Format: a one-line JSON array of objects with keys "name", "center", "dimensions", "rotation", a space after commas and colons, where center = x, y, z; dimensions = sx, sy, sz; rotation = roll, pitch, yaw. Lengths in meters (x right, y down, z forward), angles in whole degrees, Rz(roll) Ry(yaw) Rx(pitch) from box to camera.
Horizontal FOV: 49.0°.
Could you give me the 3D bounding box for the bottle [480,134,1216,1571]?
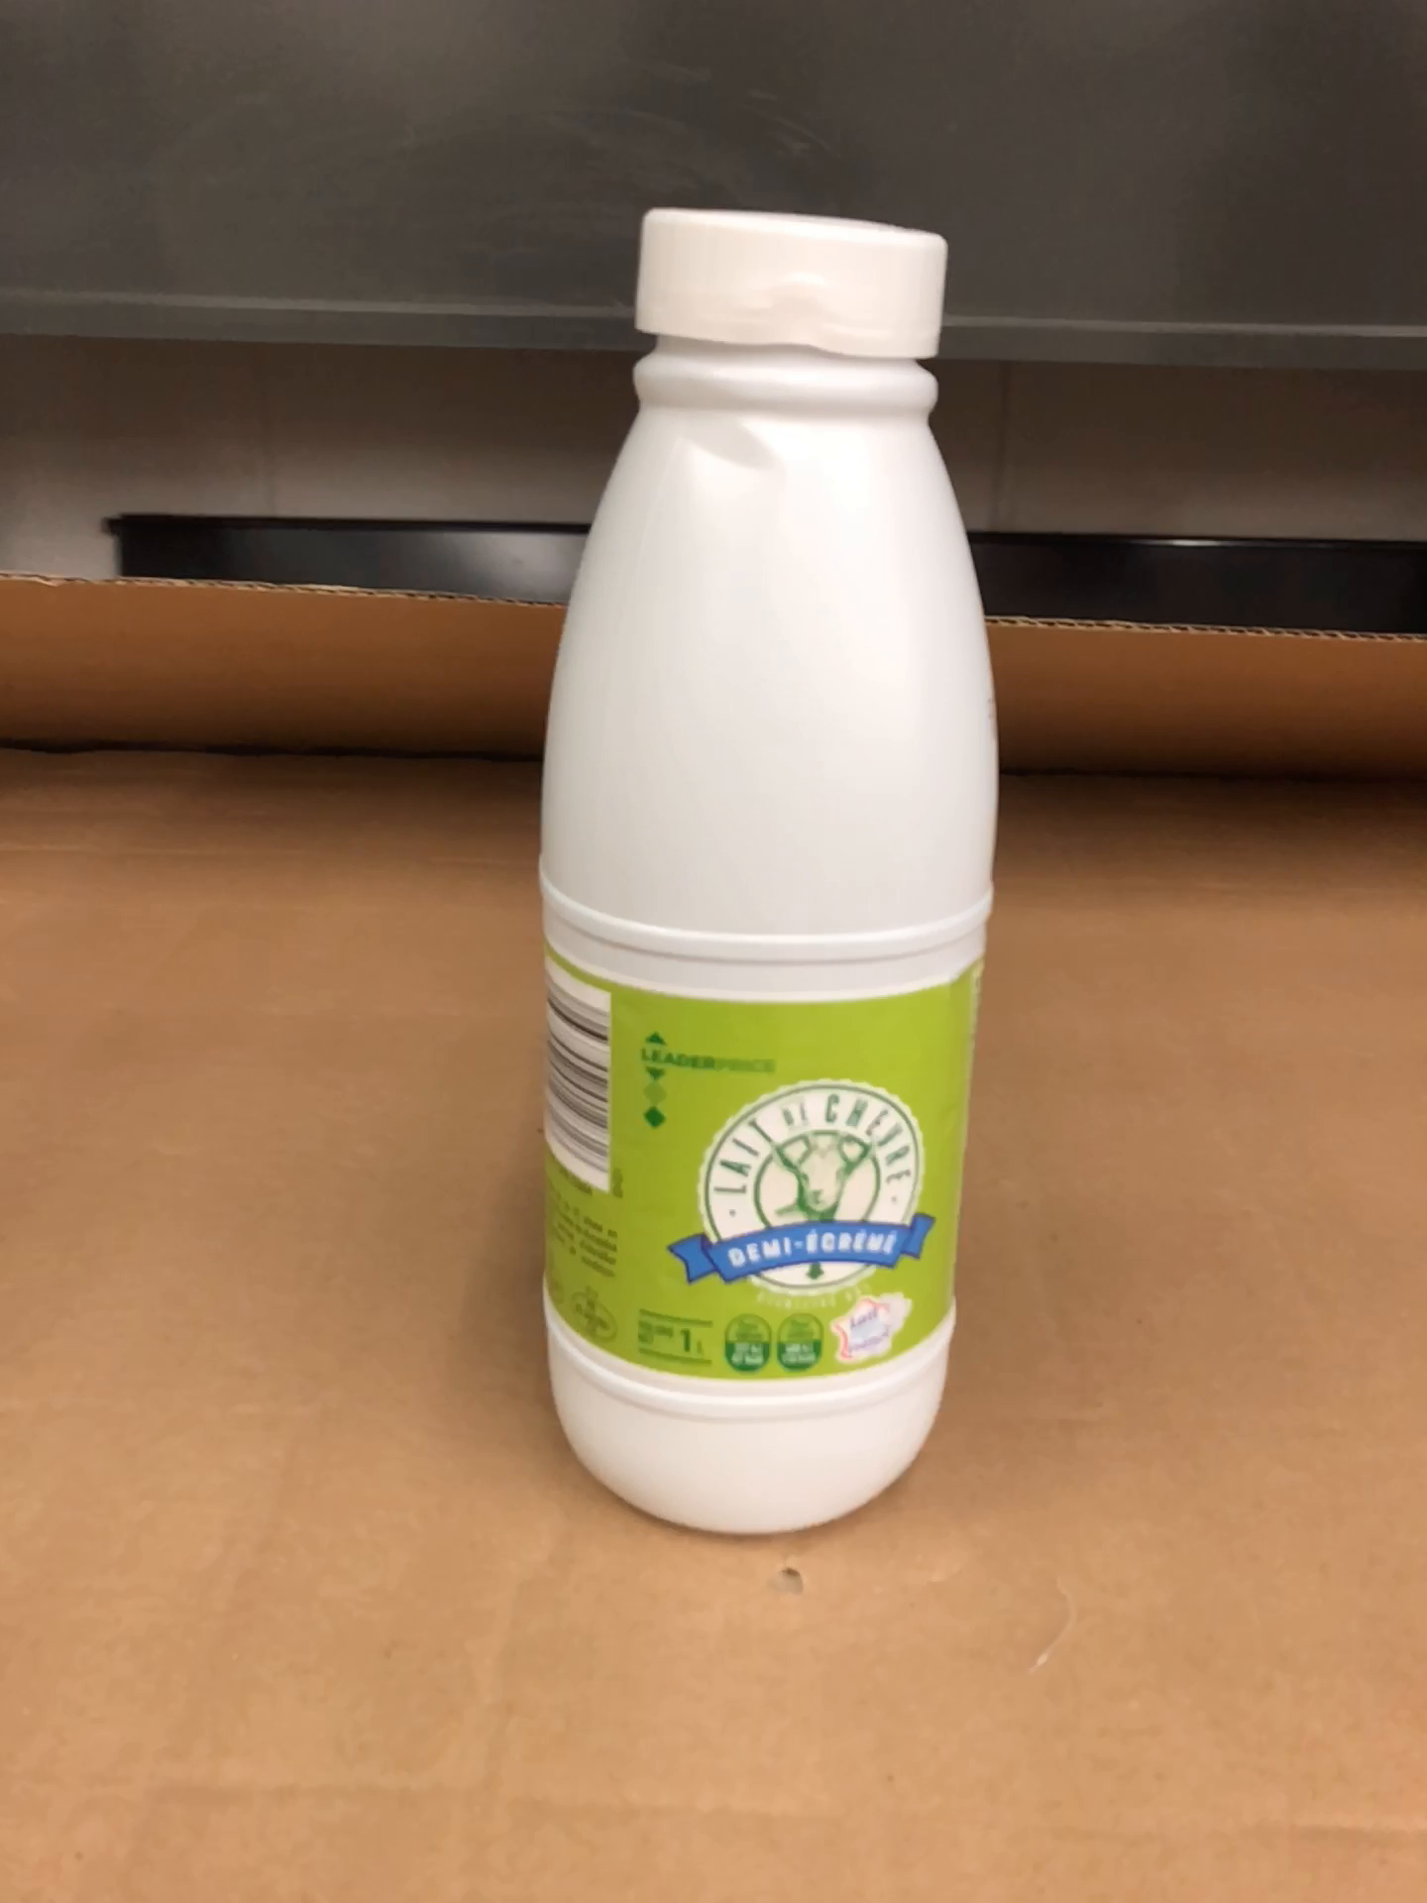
[{"name": "bottle", "center": [0.012, -0.013, 0.292], "dimensions": [0.100, 0.239, 0.080], "rotation": [-2, 22, -9]}]
